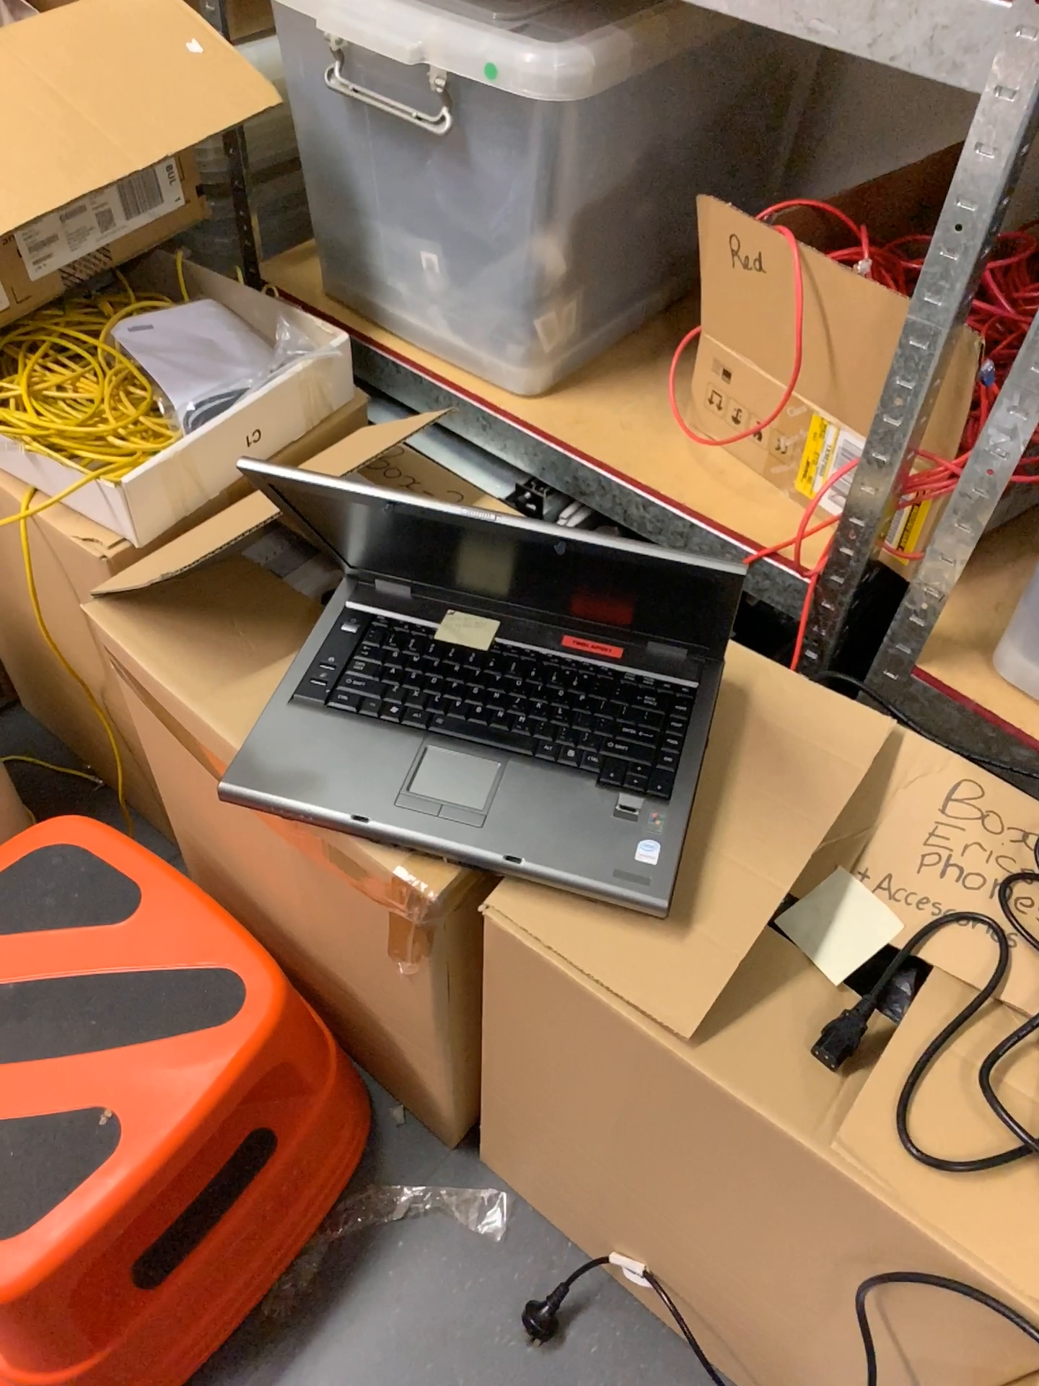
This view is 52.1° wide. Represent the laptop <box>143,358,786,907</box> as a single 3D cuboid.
[{"bbox_3d":[-0.026,-0.054,0.790,0.360,0.238,0.263,13,48,10],"label":"laptop"}]
